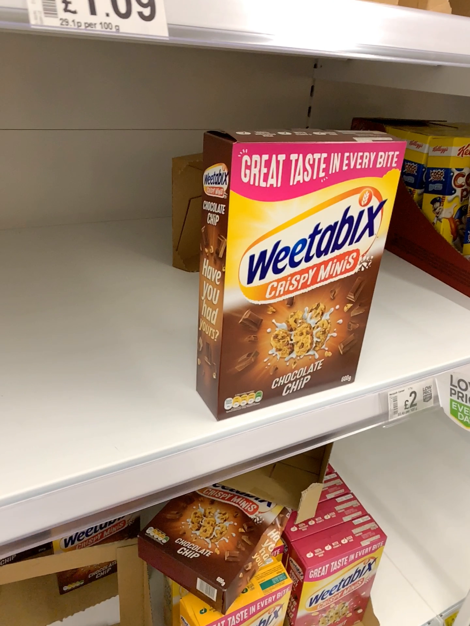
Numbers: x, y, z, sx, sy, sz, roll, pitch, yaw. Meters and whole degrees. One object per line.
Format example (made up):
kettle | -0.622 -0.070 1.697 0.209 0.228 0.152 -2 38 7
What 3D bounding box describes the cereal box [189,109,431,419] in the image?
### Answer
cereal box | 0.066 -0.051 0.503 0.211 0.287 0.070 -10 31 -26
